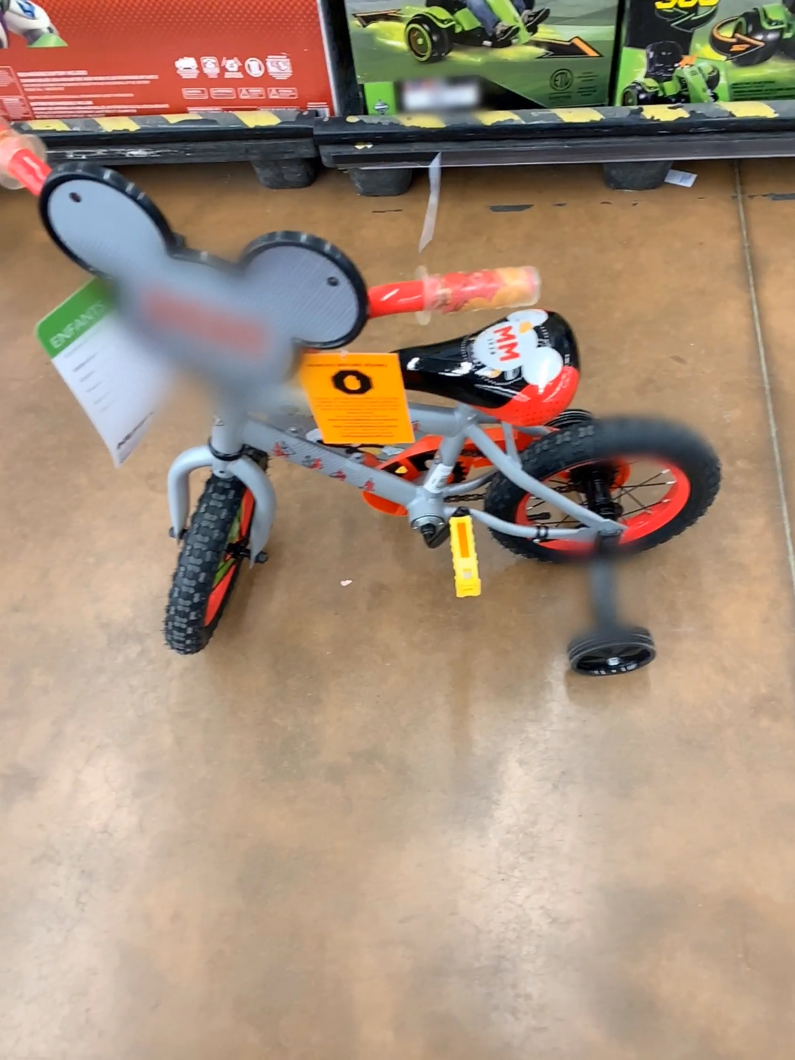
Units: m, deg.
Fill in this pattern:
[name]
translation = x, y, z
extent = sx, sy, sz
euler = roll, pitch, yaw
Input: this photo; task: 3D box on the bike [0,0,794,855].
[bike]
translation = 0.036, -0.064, 0.847
extent = 0.678, 0.742, 0.450
euler = -17, 57, -1
